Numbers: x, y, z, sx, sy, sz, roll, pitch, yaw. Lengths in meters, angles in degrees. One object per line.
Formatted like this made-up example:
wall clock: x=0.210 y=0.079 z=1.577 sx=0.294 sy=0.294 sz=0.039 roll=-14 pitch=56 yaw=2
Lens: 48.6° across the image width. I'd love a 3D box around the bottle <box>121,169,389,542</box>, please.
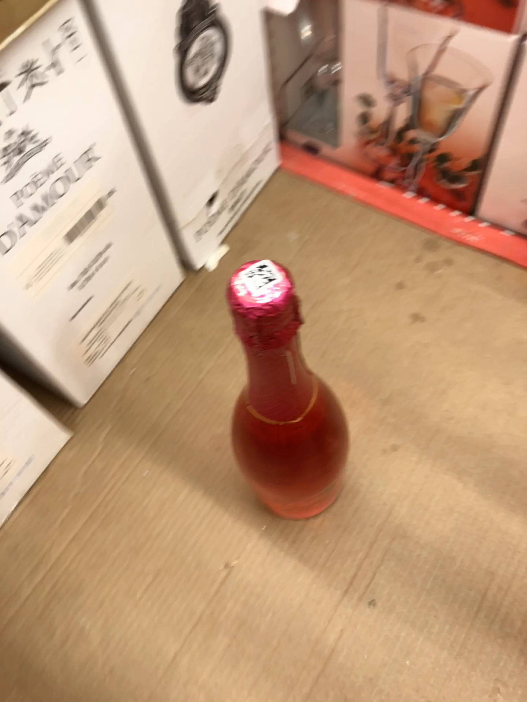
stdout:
bottle: x=0.011 y=0.038 z=0.412 sx=0.090 sy=0.320 sz=0.090 roll=-3 pitch=61 yaw=5
